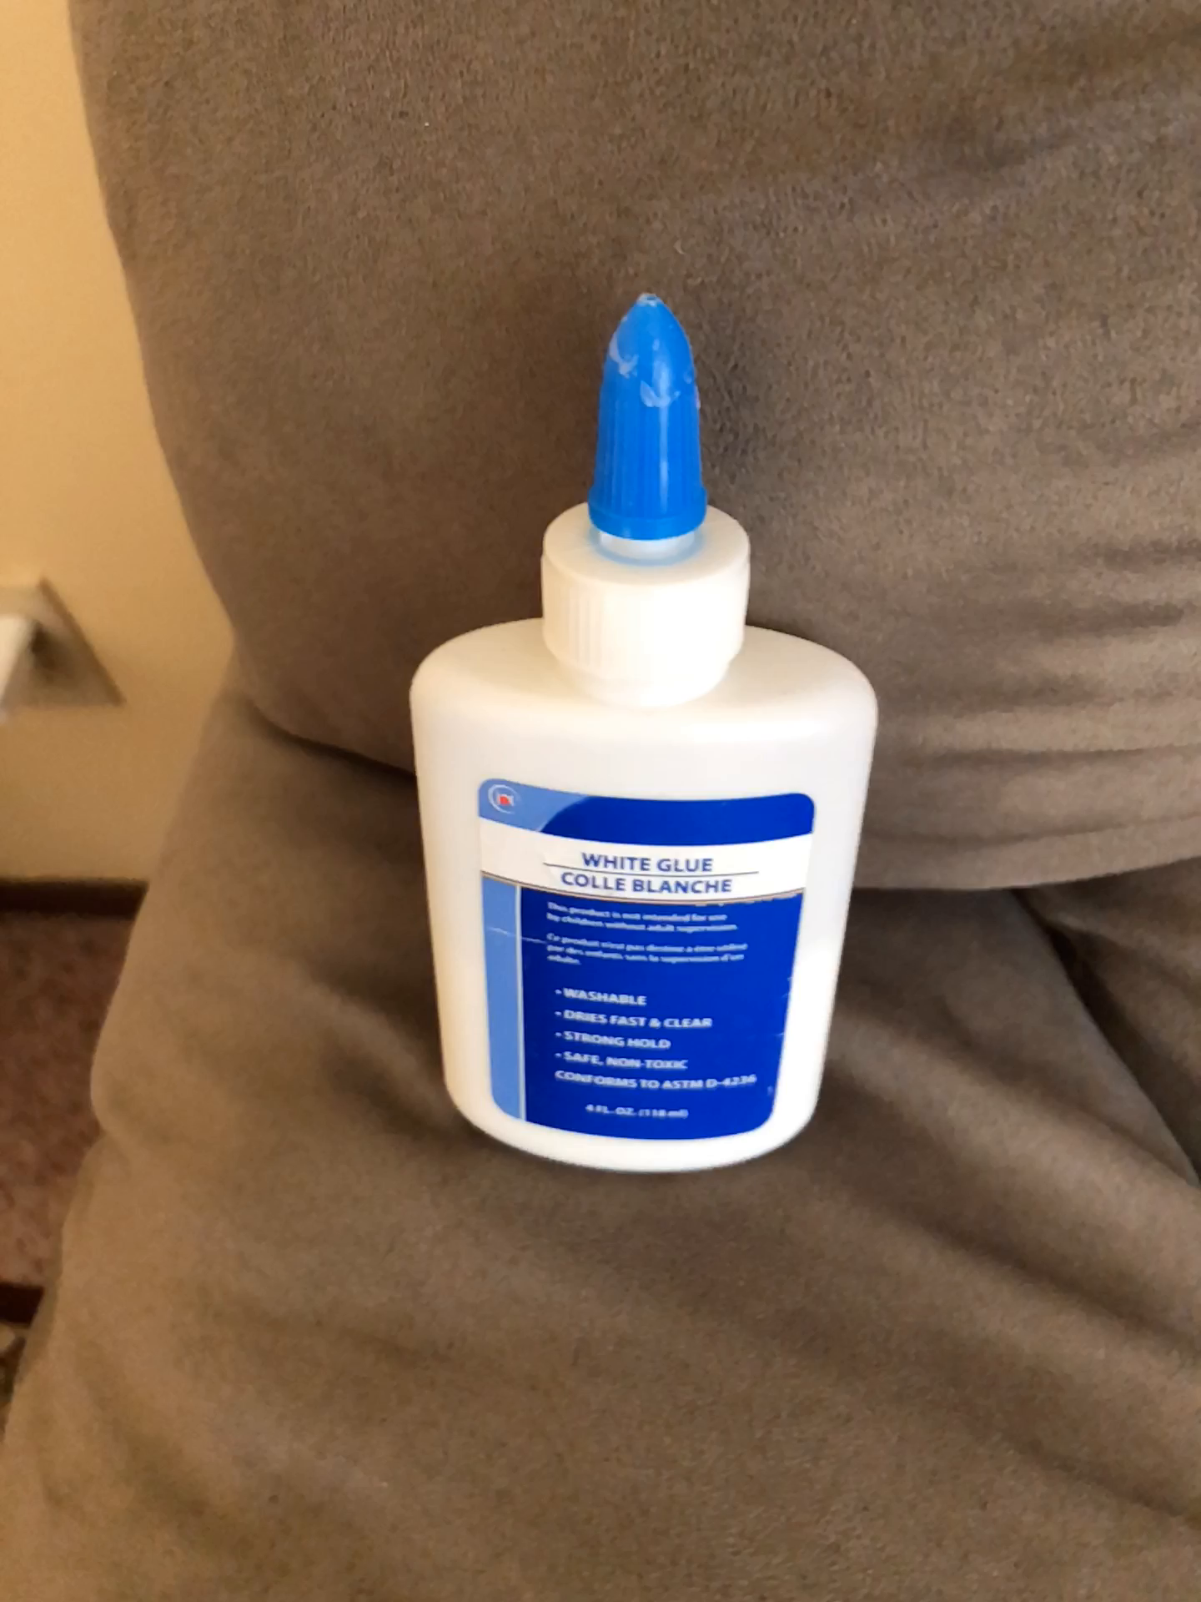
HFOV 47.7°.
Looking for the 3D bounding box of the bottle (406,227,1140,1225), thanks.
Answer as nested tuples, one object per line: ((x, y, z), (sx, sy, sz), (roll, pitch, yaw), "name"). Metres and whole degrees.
((0.016, -0.003, 0.185), (0.070, 0.130, 0.040), (5, 37, 3), "bottle")
